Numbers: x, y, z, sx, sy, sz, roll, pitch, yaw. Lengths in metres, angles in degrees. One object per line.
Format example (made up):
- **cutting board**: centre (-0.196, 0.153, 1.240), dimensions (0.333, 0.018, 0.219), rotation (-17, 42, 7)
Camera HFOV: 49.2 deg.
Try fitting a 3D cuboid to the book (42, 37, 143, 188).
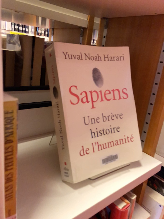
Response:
- **book**: centre (0.028, -0.003, 0.359), dimensions (0.178, 0.244, 0.052), rotation (-6, -3, -33)
